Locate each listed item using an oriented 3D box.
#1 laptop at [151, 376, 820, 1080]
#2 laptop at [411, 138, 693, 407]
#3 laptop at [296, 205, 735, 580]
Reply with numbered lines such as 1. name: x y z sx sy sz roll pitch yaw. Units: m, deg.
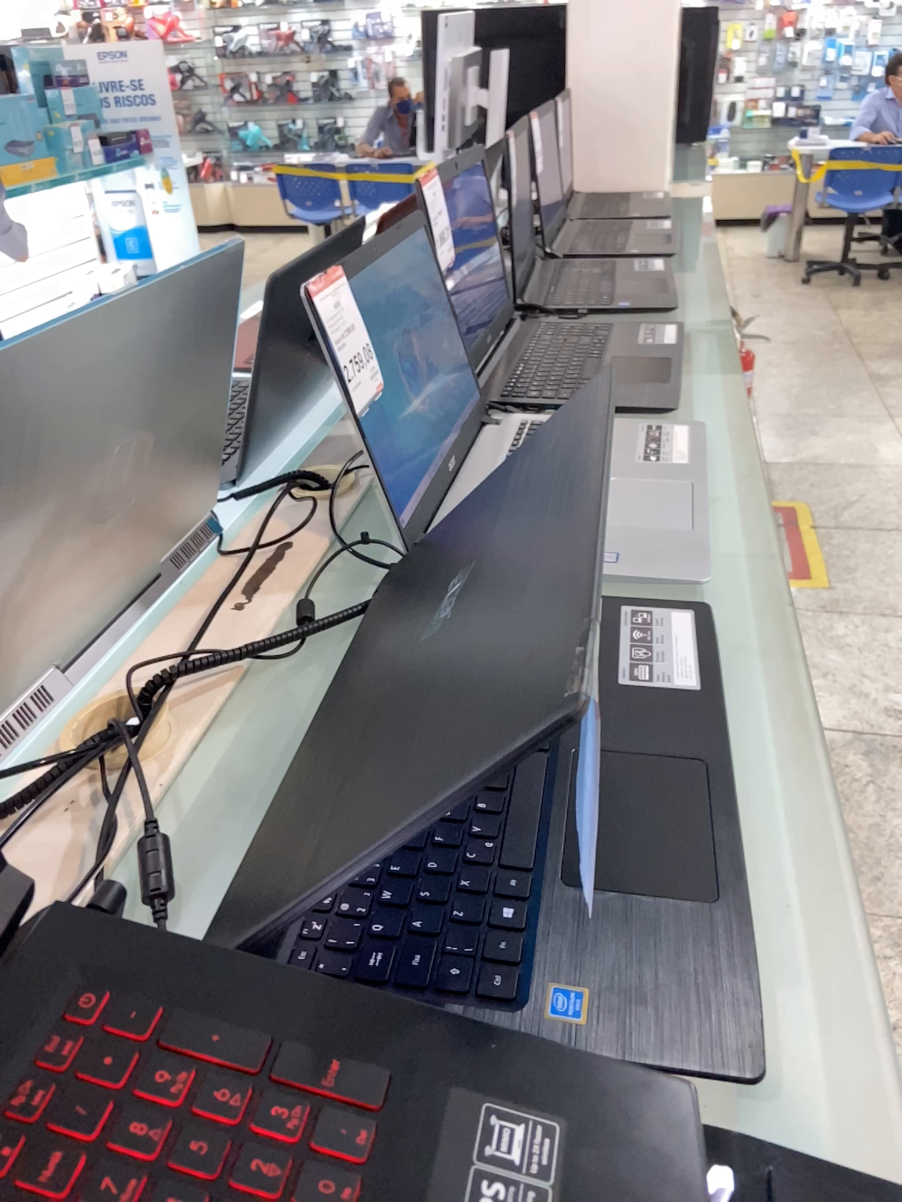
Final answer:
1. laptop: 0.042 0.019 0.516 0.229 0.169 0.377 4 31 9
2. laptop: 0.154 -0.449 1.222 0.299 0.249 0.387 4 32 12
3. laptop: 0.083 -0.218 0.861 0.313 0.227 0.364 4 31 12
